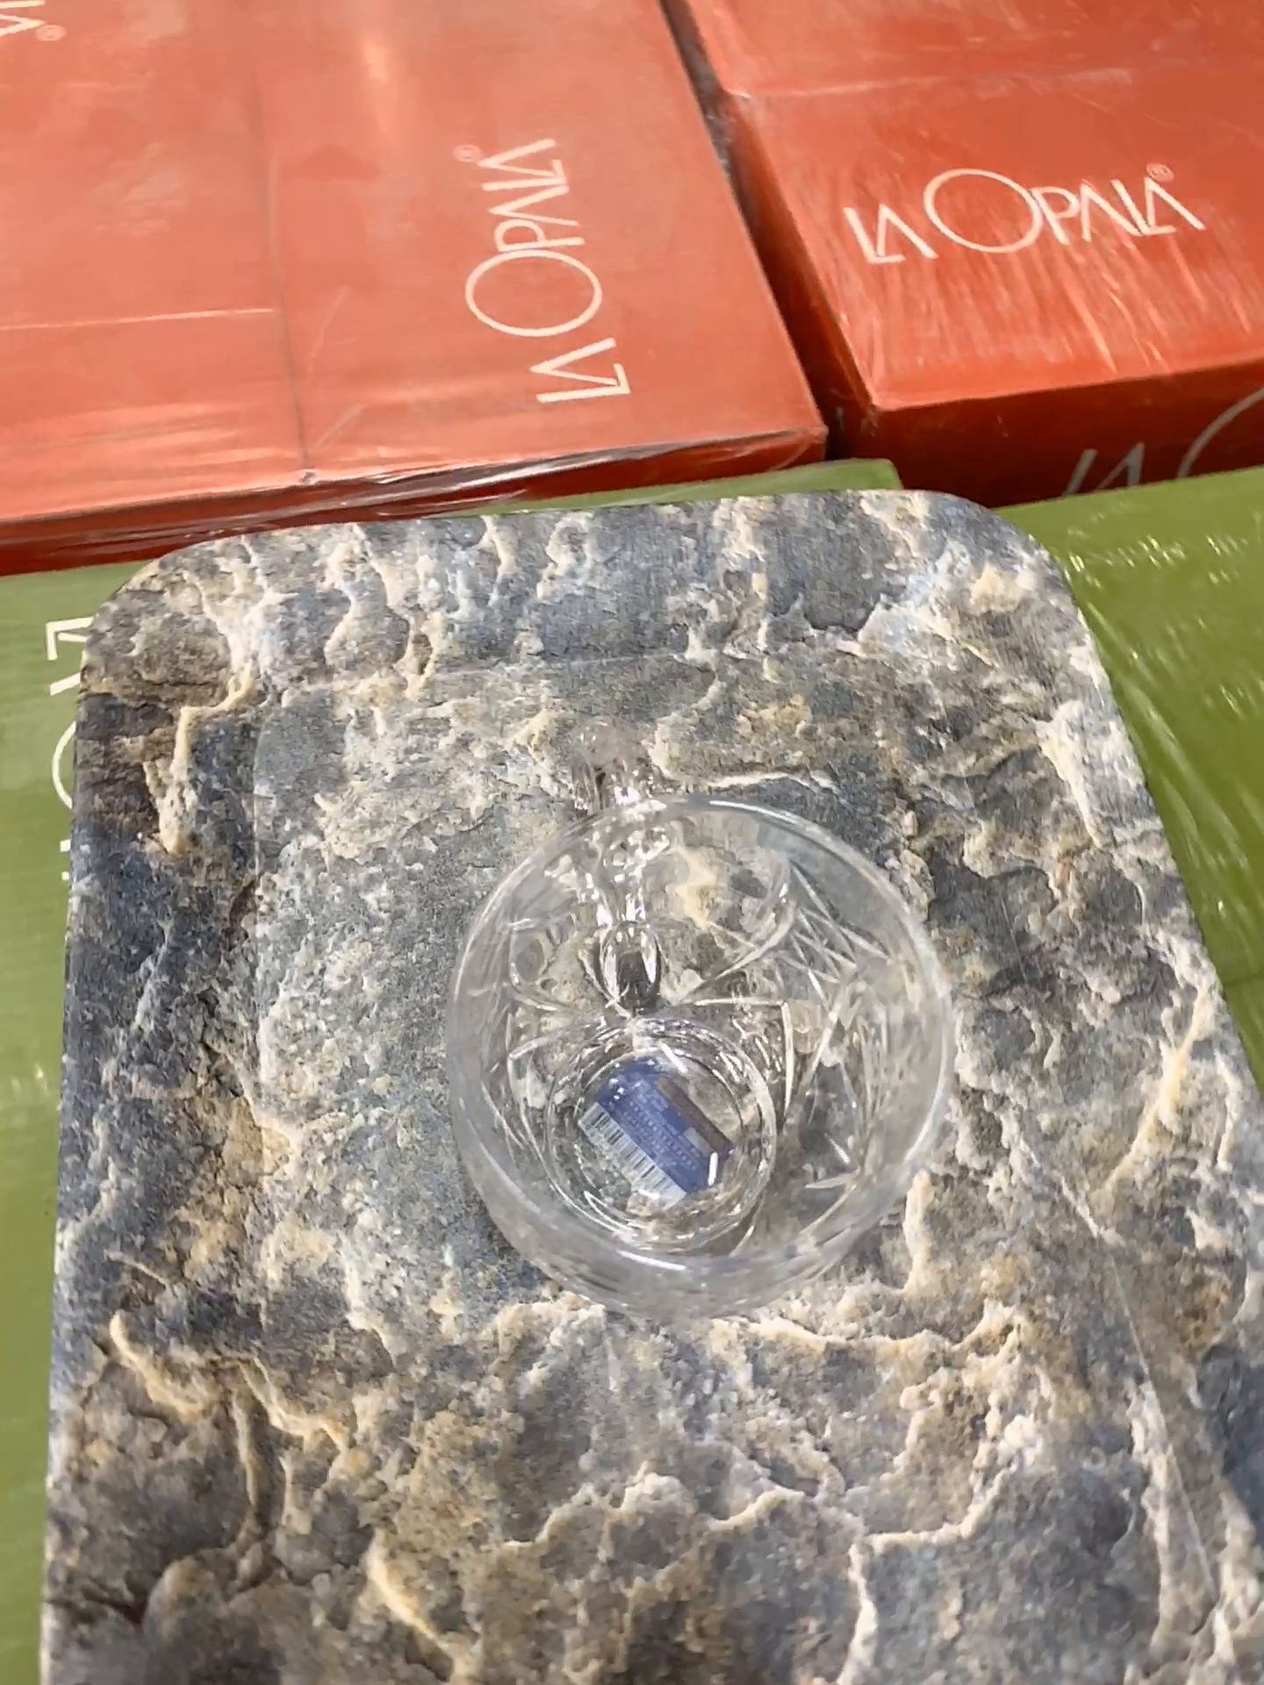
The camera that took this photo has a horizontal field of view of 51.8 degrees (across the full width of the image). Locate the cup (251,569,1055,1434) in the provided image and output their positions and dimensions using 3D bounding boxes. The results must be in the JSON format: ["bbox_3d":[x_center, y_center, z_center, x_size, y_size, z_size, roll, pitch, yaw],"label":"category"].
[{"bbox_3d":[-0.004,0.026,0.208,0.080,0.070,0.100,-16,65,-13],"label":"cup"}]
